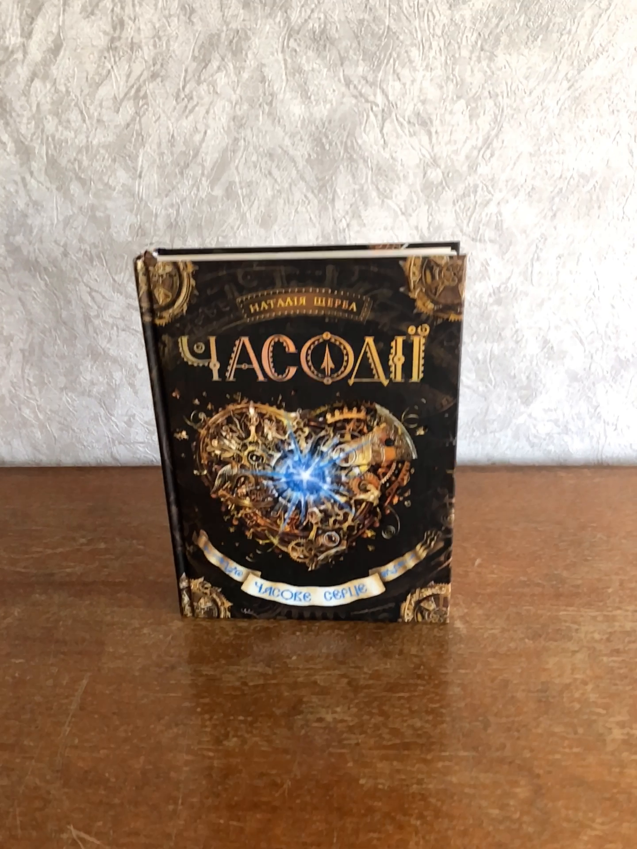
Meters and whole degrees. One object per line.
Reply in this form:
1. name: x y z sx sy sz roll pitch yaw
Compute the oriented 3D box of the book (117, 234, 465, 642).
1. book: -0.008 0.015 0.395 0.166 0.228 0.042 -1 22 4
